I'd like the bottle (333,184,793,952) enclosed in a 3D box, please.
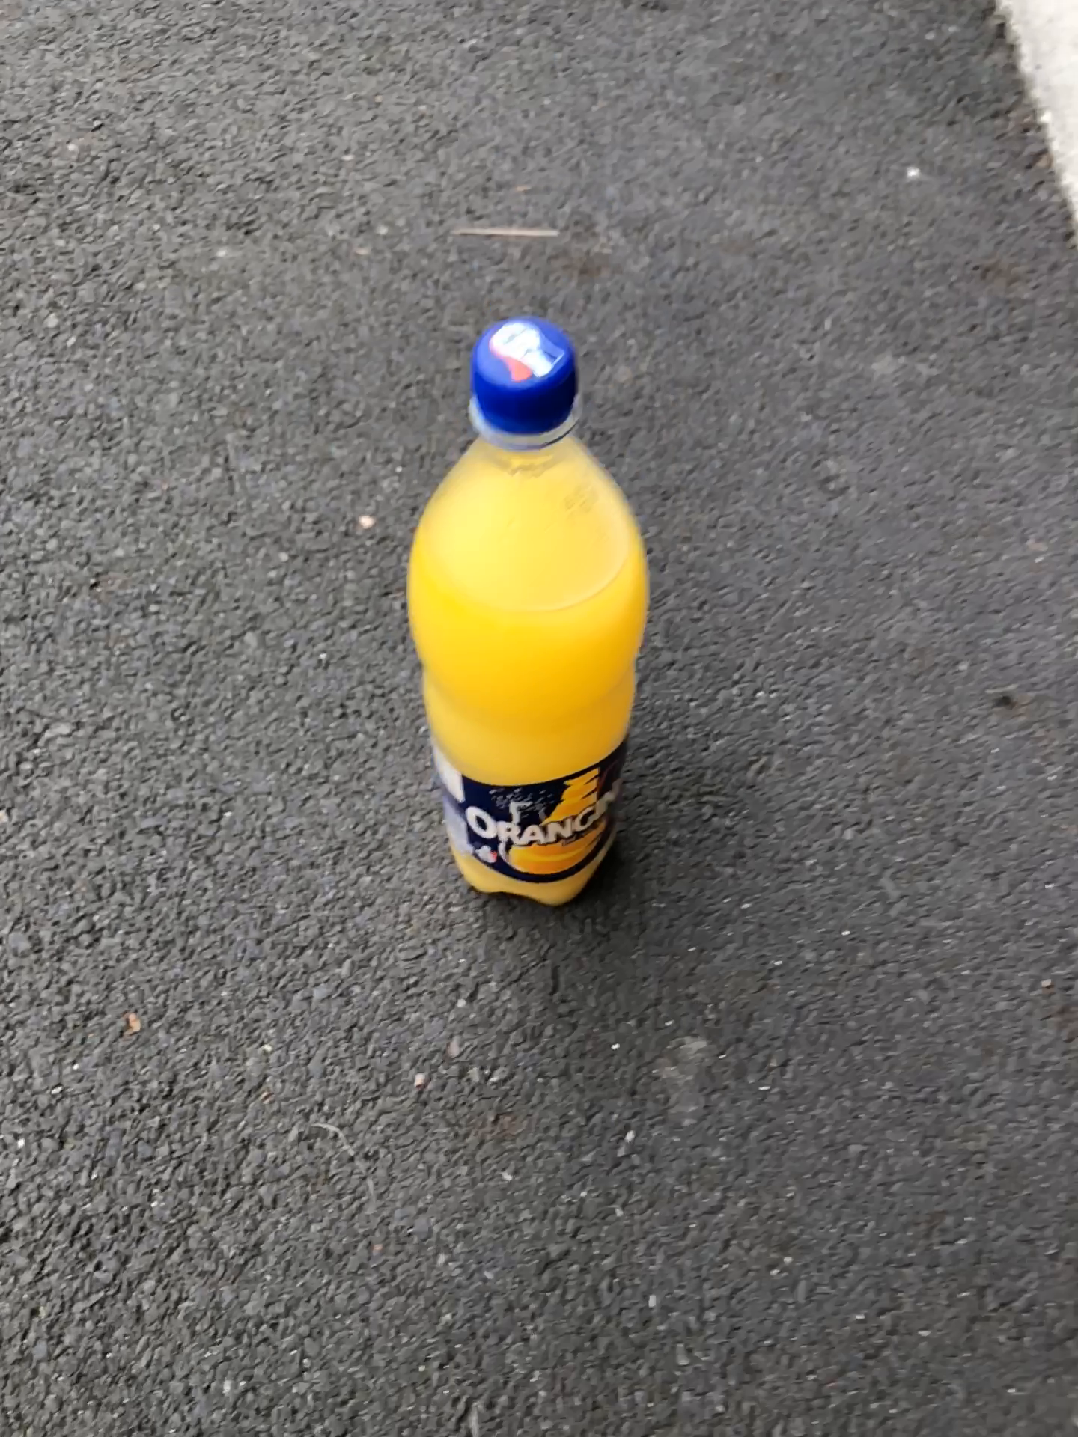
[{"bbox_3d":[-0.004,-0.025,0.483,0.100,0.338,0.100,1,59,-2],"label":"bottle"}]
